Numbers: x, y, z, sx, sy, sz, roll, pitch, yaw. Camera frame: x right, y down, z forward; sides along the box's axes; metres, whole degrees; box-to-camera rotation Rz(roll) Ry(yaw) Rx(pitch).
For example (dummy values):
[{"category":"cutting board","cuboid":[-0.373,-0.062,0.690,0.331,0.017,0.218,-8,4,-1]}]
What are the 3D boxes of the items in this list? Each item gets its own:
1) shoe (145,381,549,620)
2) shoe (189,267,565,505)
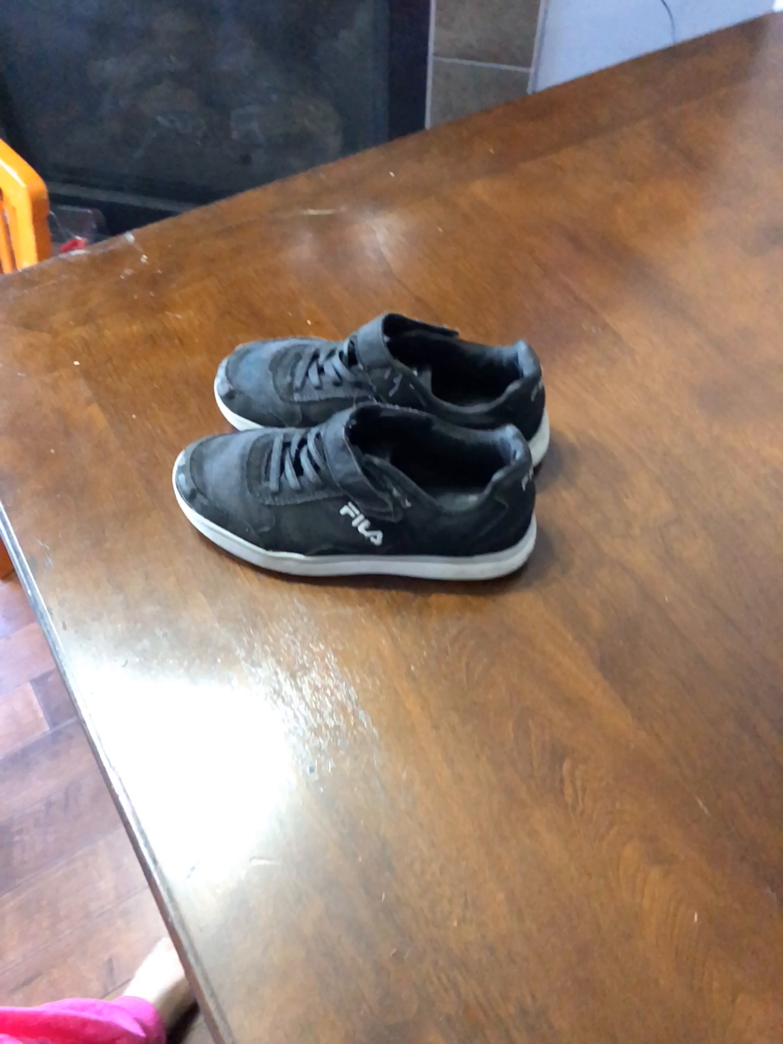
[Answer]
[{"category":"shoe","cuboid":[-0.020,-0.012,0.507,0.210,0.080,0.090,6,57,3]},{"category":"shoe","cuboid":[-0.006,-0.086,0.549,0.210,0.080,0.090,9,57,5]}]
